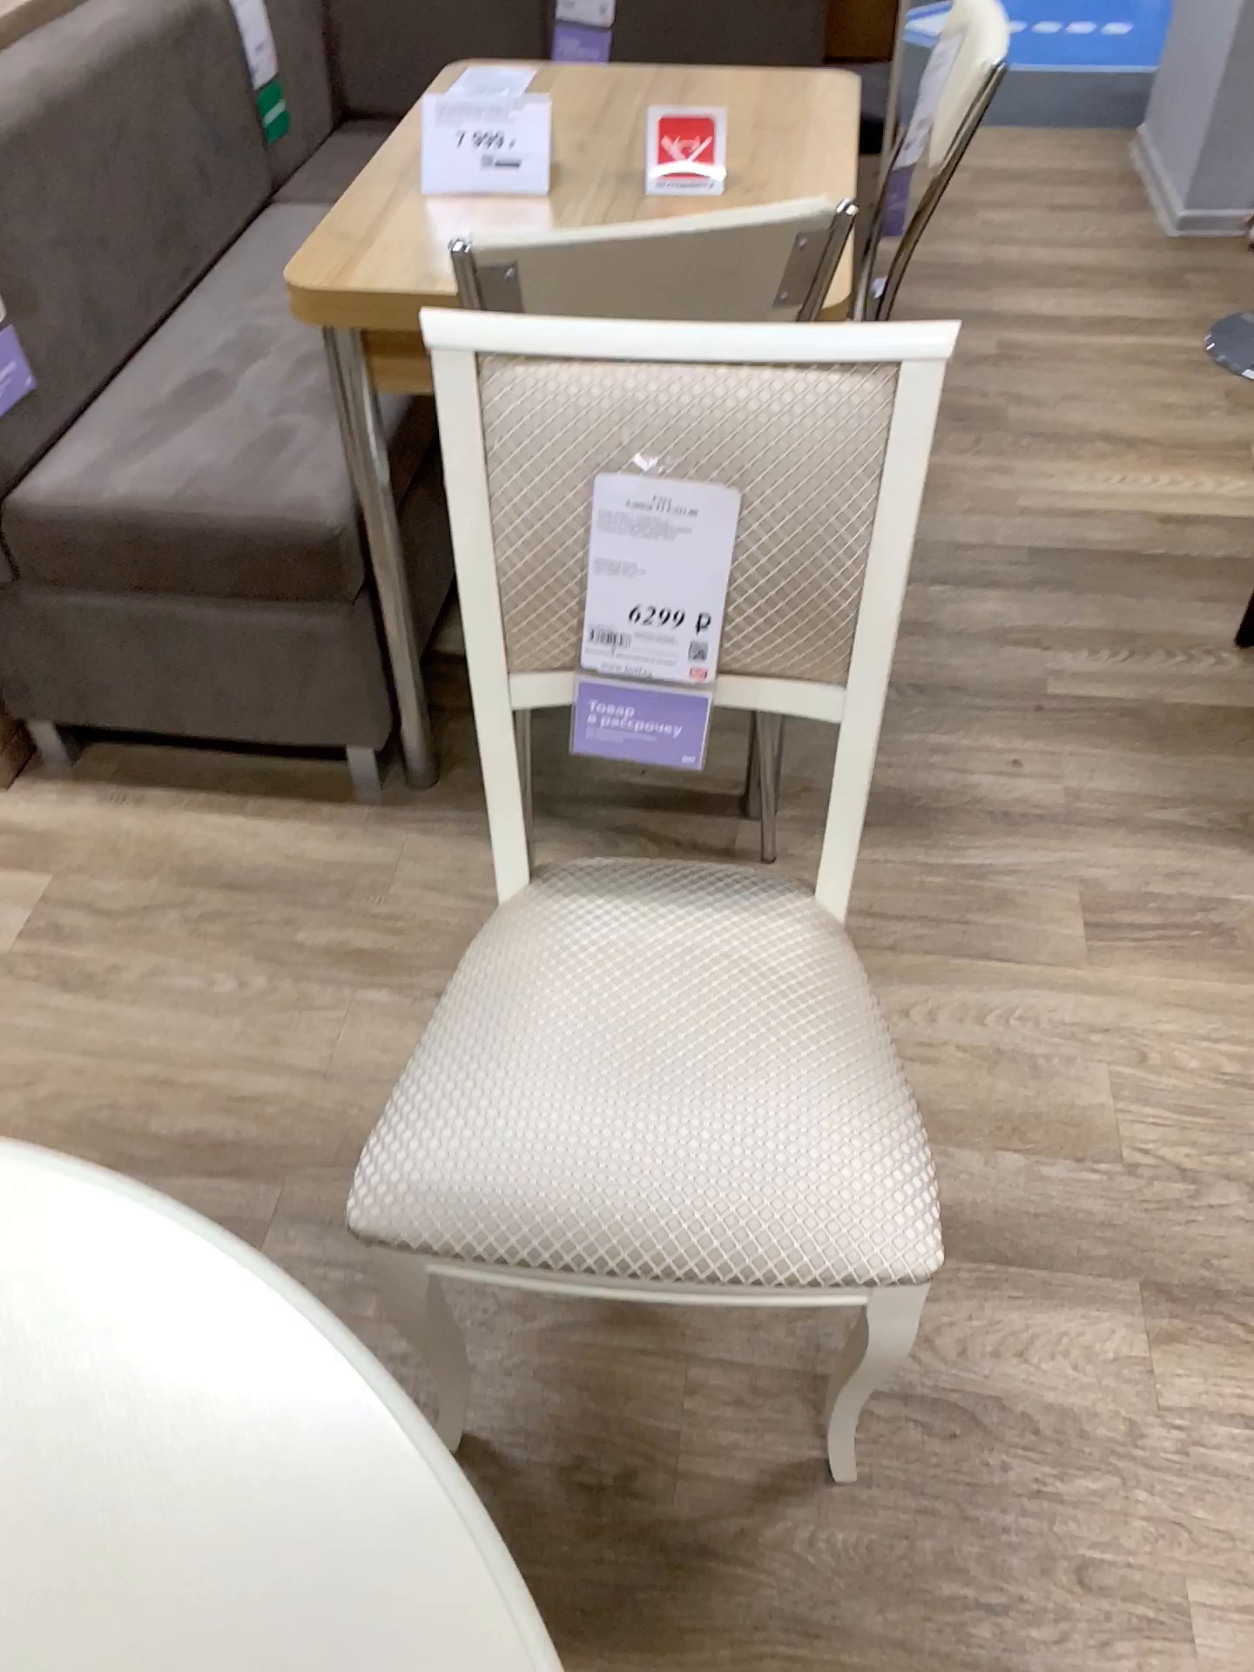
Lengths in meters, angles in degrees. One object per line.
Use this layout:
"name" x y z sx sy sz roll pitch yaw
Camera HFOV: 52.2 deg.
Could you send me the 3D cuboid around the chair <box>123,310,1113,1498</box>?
"chair" 0.017 0.121 1.101 0.460 0.925 0.513 3 45 4
